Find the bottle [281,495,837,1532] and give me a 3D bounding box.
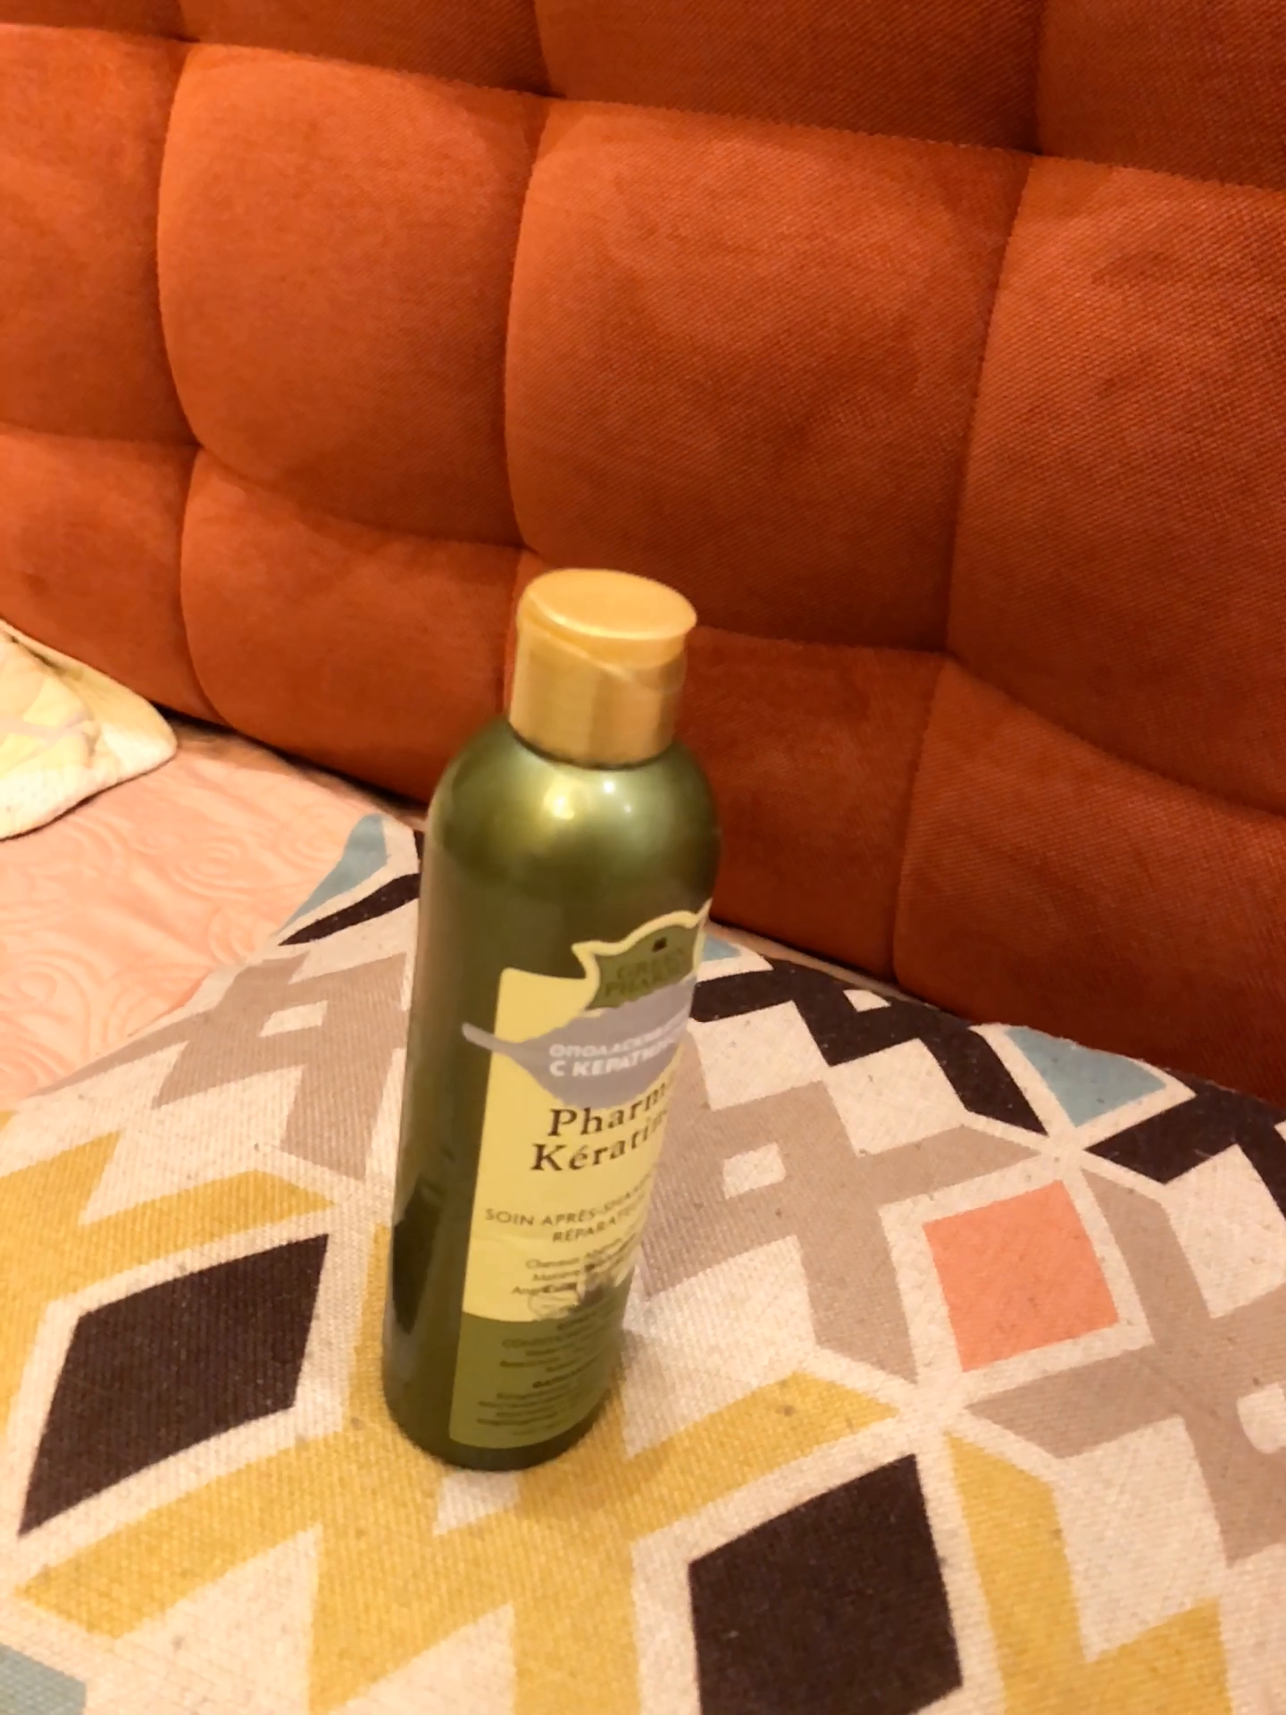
[{"bbox_3d":[-0.024,0.032,0.271,0.060,0.179,0.070,-16,38,-34],"label":"bottle"}]
